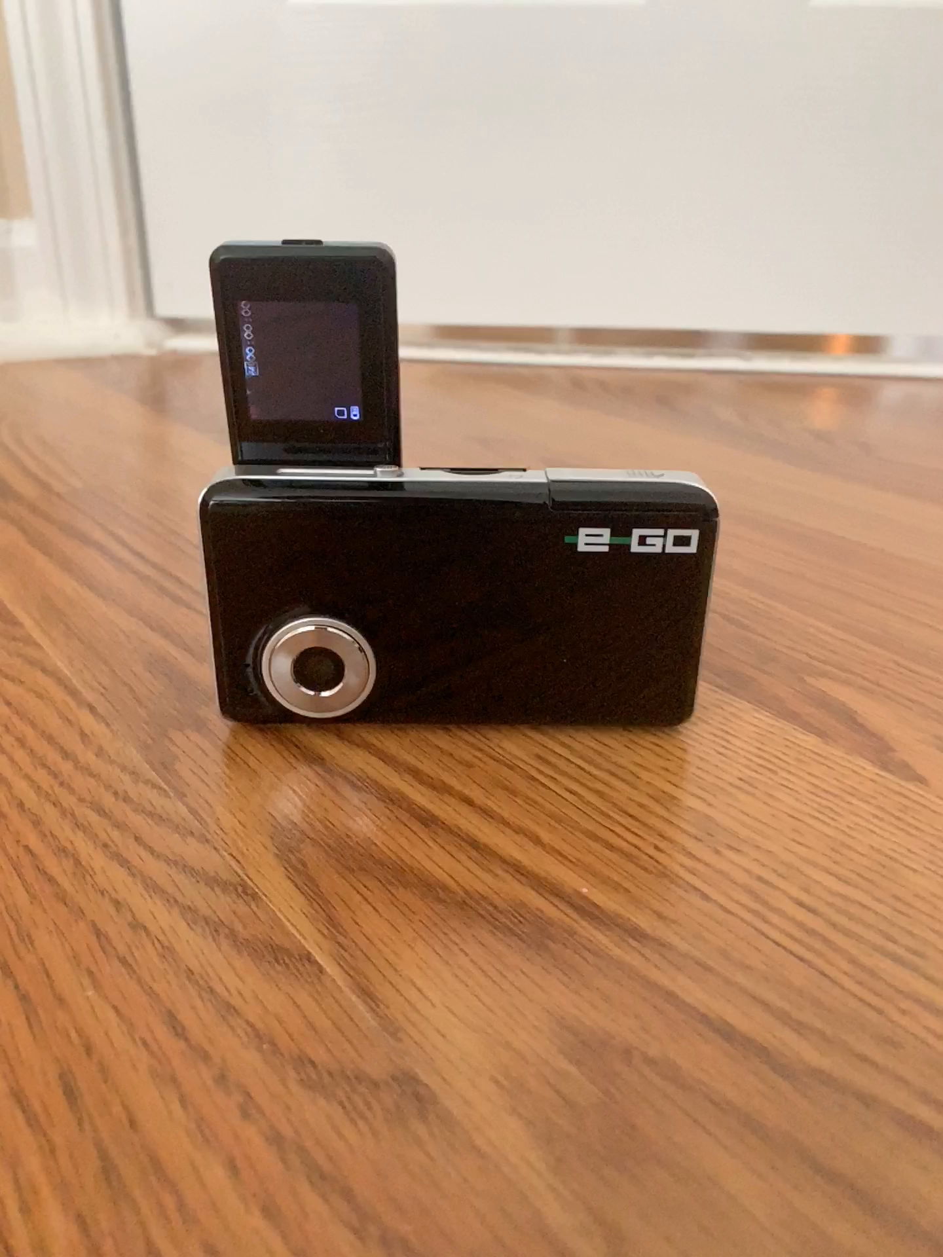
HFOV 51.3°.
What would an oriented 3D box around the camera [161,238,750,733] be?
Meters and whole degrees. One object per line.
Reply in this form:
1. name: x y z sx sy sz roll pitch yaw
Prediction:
1. camera: -0.004 -0.030 0.230 0.118 0.111 0.022 1 24 0
